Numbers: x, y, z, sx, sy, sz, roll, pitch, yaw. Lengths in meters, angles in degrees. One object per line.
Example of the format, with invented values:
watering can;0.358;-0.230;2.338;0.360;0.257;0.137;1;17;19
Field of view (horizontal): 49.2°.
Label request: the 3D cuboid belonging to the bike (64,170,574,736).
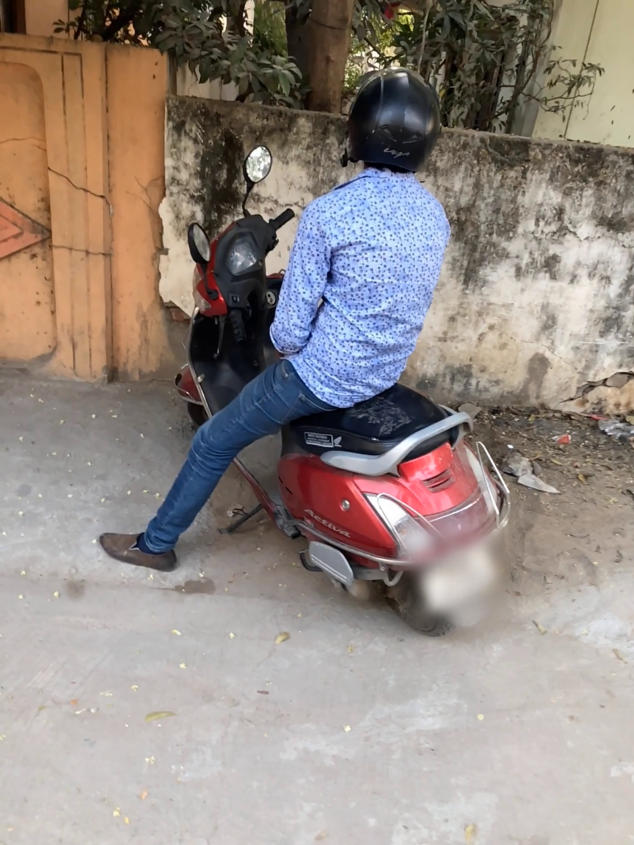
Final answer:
bike;-0.157;-0.065;2.332;0.724;1.165;1.505;-15;35;-38
